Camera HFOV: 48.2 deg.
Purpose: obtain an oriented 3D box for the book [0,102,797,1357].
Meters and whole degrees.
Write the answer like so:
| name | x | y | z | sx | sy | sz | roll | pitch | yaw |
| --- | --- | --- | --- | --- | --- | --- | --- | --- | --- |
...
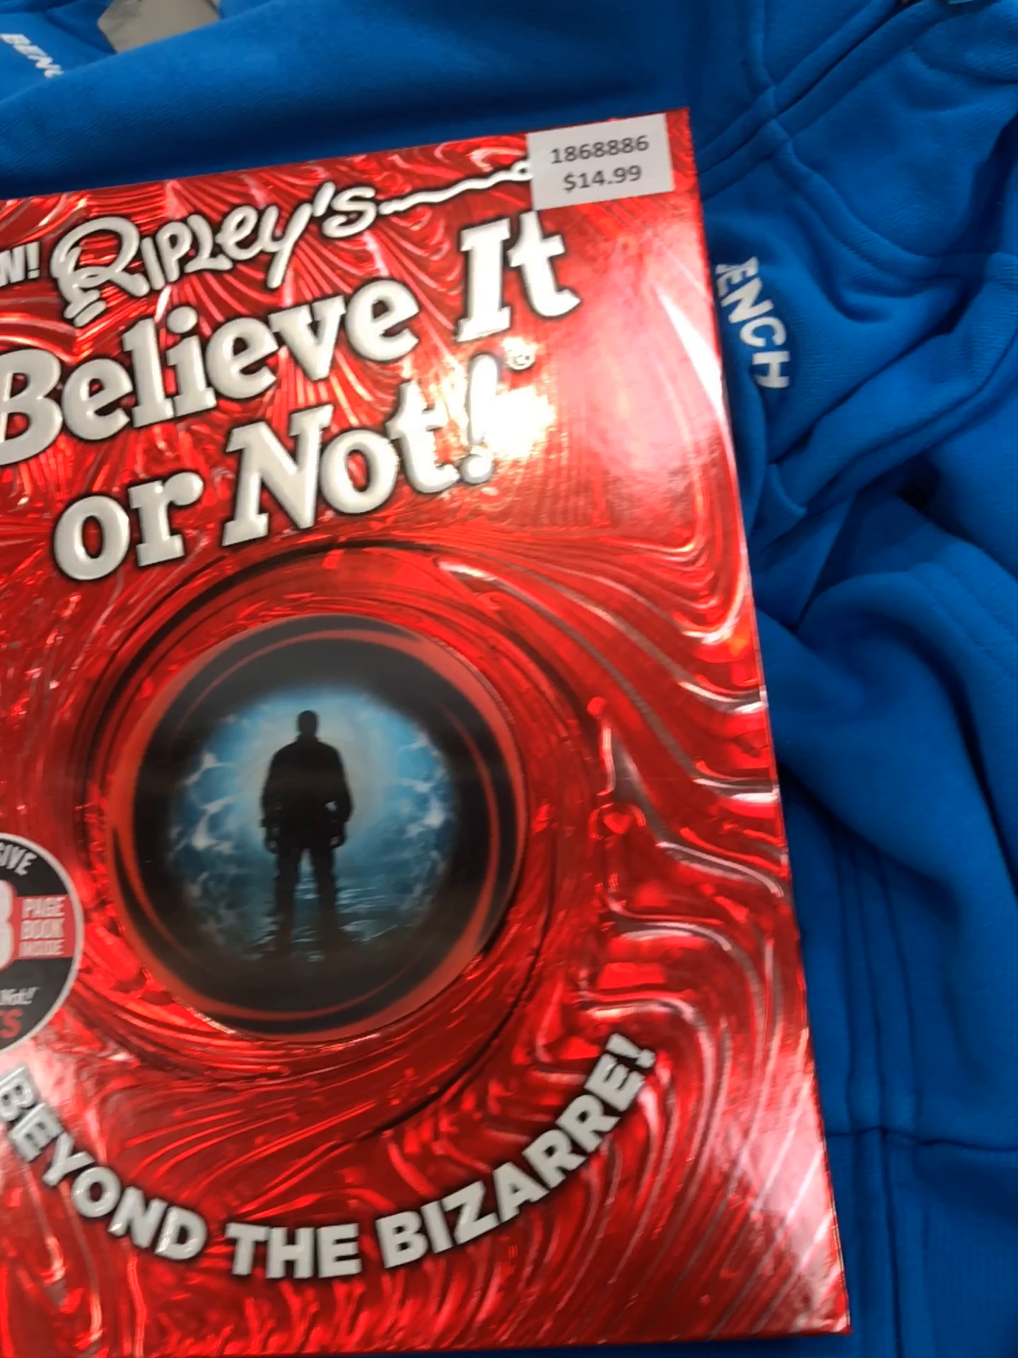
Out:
| name | x | y | z | sx | sy | sz | roll | pitch | yaw |
| --- | --- | --- | --- | --- | --- | --- | --- | --- | --- |
| book | -0.071 | 0.004 | 0.293 | 0.244 | 0.028 | 0.303 | -5 | 75 | 5 |
